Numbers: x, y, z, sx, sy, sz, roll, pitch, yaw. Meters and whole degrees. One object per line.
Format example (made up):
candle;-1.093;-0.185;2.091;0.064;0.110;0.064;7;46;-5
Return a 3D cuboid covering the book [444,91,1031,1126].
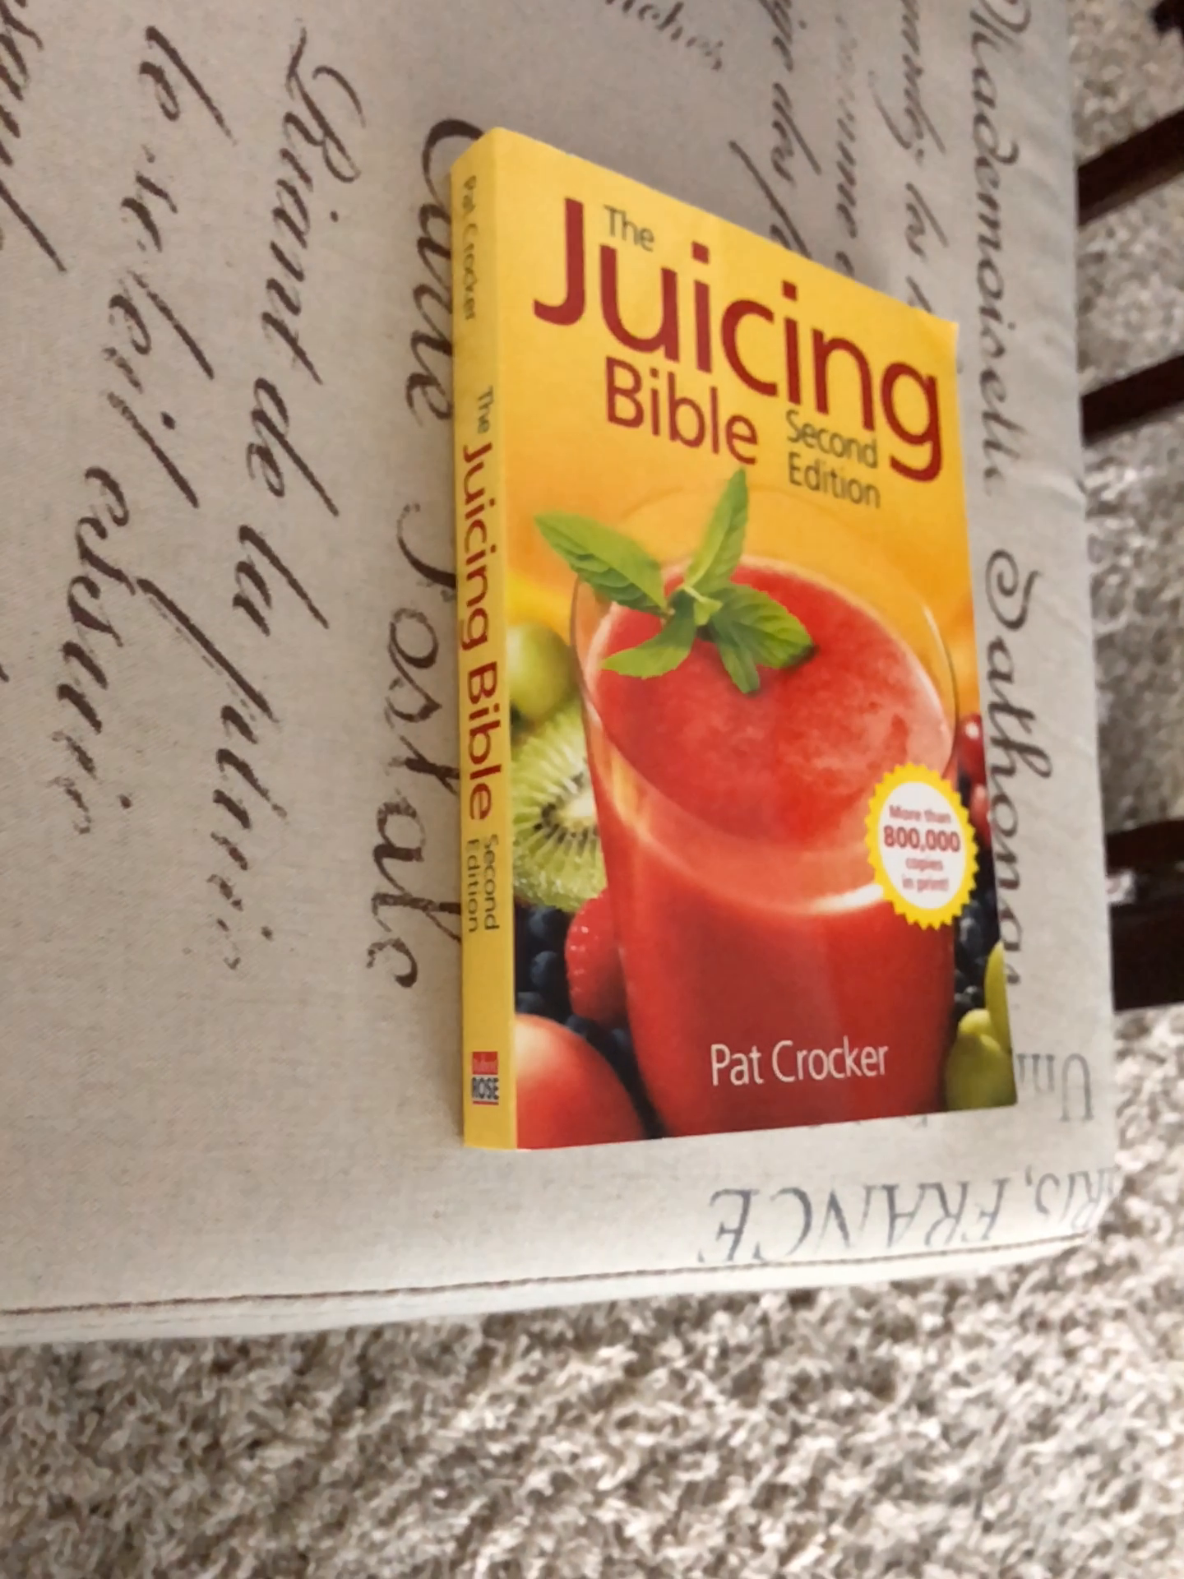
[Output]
book;0.045;-0.040;0.373;0.181;0.030;0.250;6;78;-36
